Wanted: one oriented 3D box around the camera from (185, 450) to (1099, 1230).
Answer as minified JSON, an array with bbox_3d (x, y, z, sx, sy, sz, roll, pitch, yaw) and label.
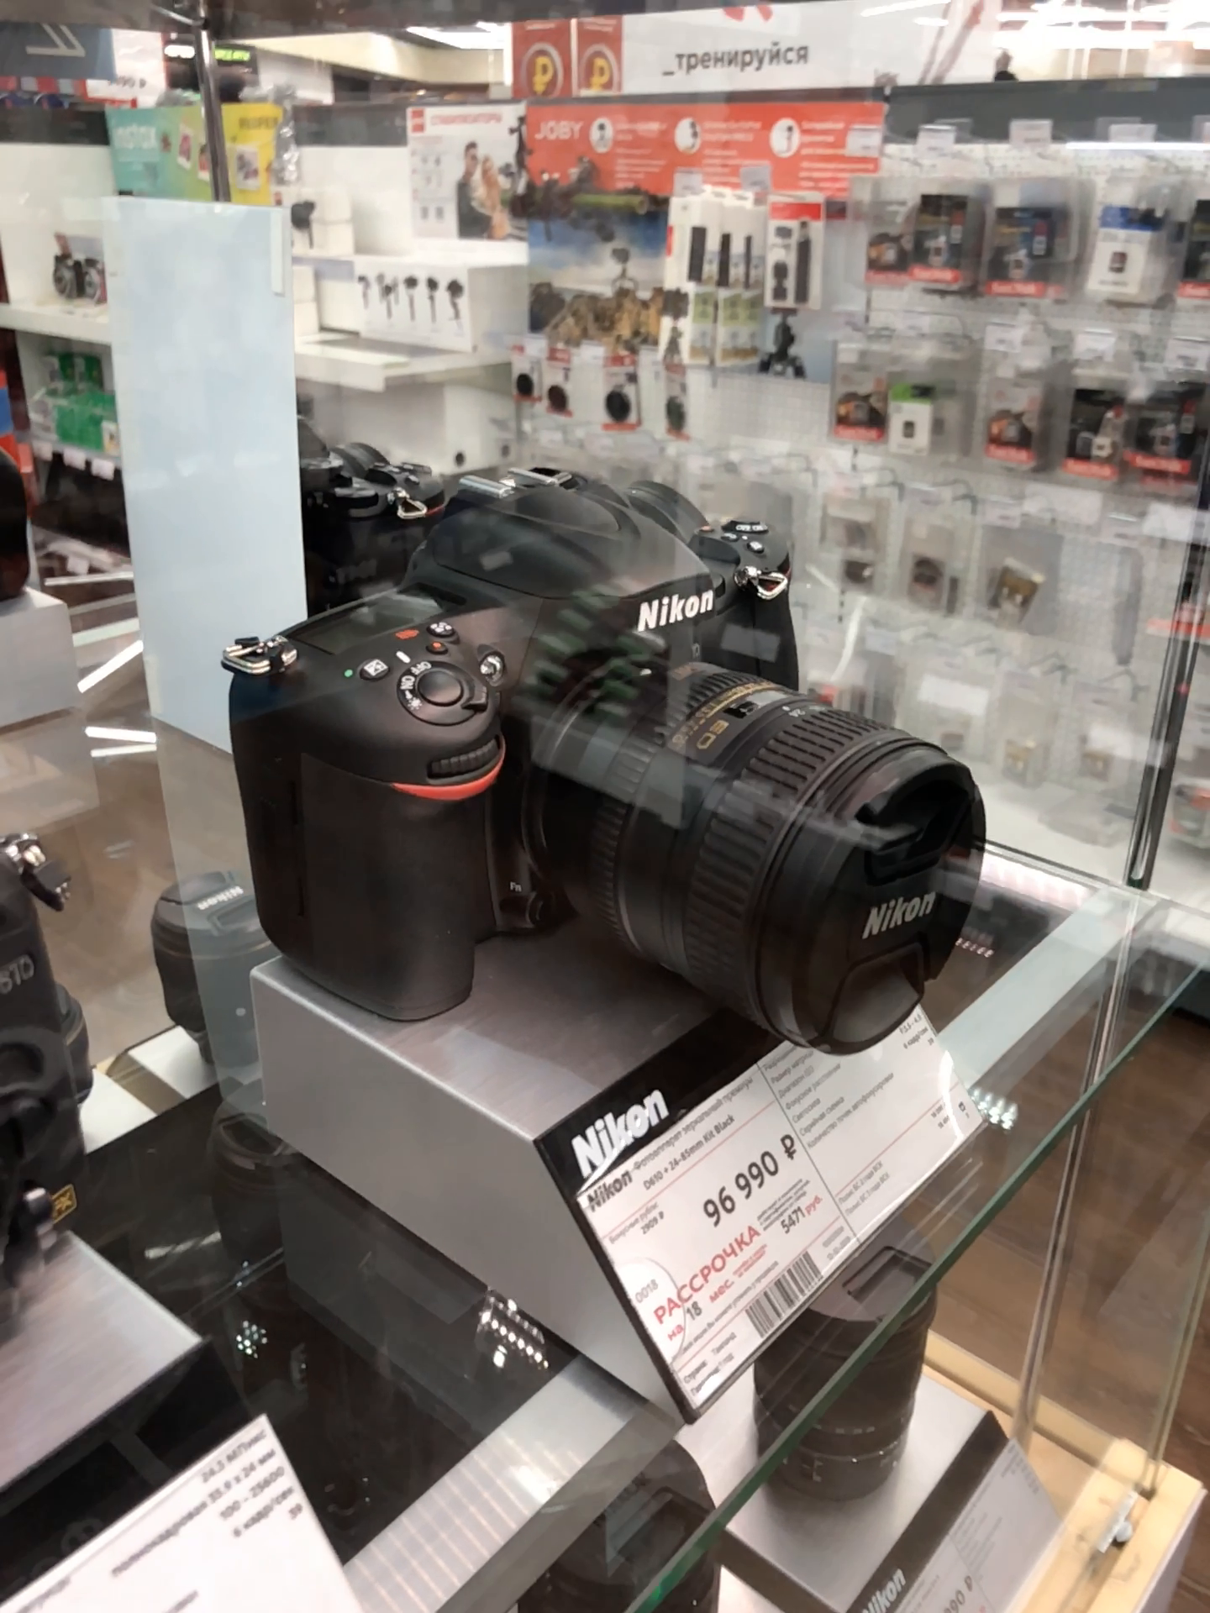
[{"bbox_3d":[0.006,-0.013,0.331,0.148,0.109,0.150,-21,32,-38],"label":"camera"}]
